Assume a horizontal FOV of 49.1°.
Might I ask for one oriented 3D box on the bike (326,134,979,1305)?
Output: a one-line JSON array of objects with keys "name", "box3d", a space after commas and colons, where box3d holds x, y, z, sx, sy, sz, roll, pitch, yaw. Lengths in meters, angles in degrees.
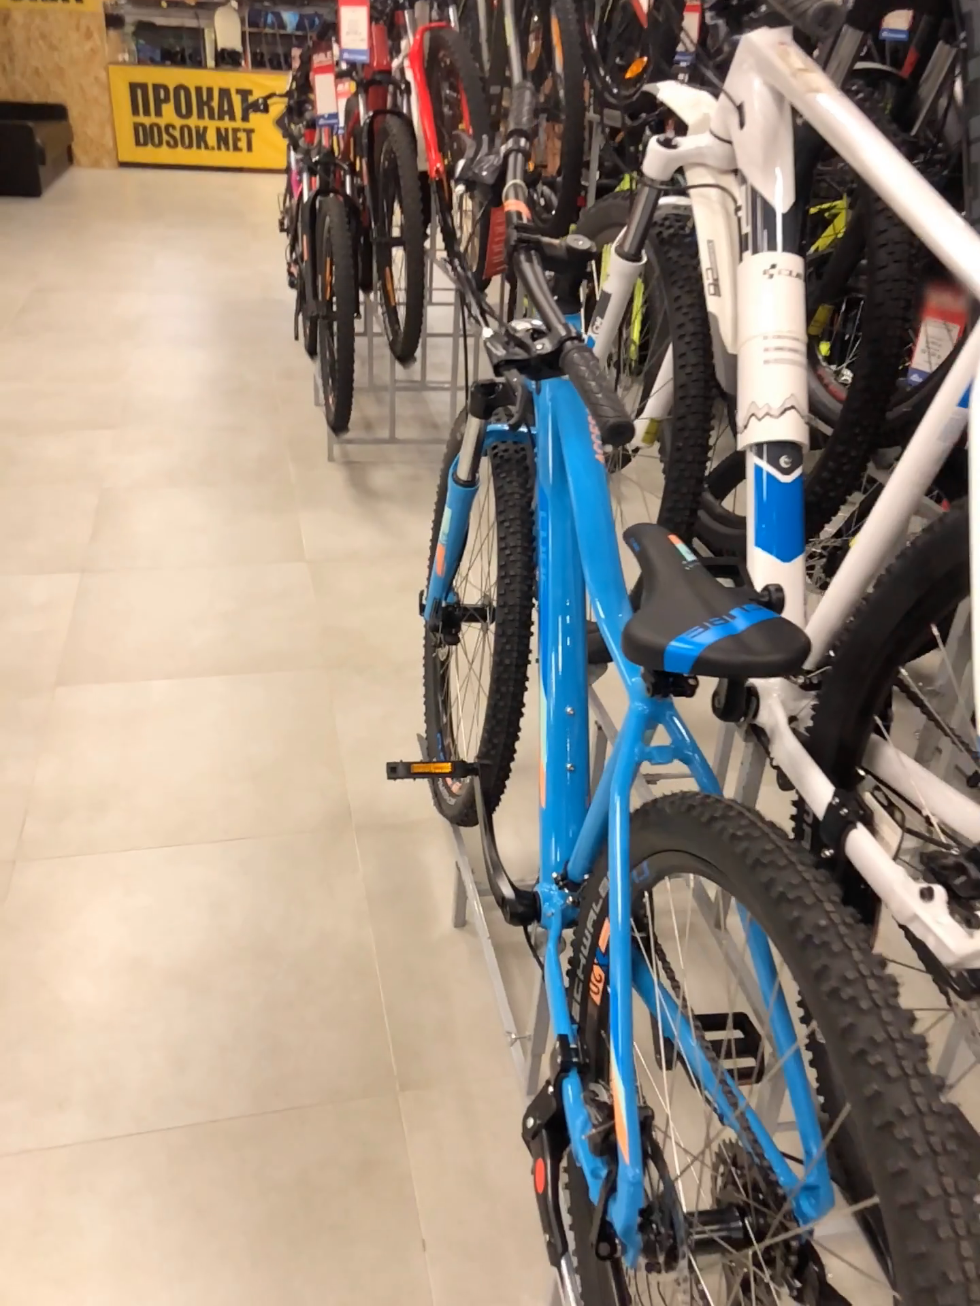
[{"name": "bike", "box3d": [0.186, 0.050, 1.244, 0.630, 1.082, 1.710, -3, 29, -12]}]
